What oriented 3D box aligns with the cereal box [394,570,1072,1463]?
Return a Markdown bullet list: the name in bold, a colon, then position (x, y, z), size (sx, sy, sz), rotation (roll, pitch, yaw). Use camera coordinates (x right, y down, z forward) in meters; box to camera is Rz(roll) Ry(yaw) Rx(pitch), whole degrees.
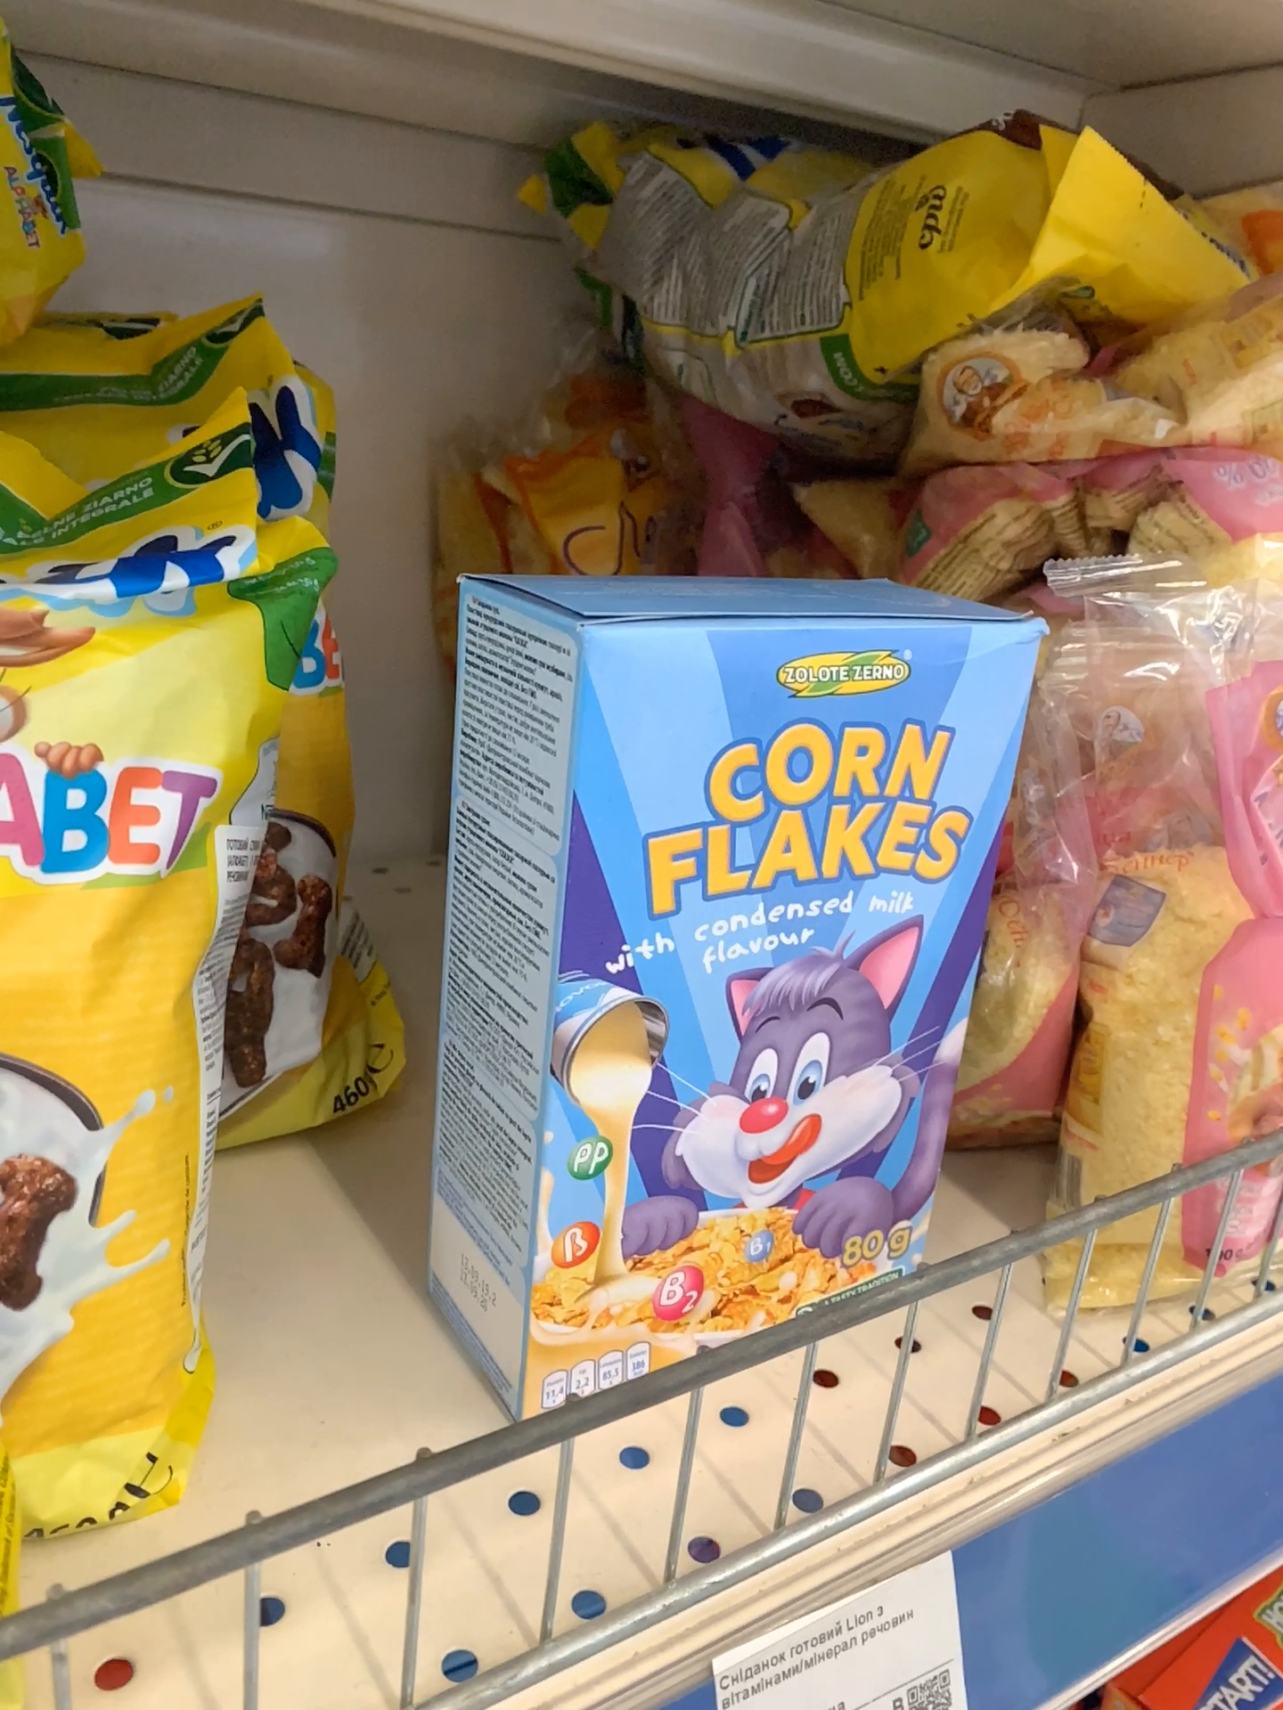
- **cereal box**: position (0.016, 0.025, 0.279), size (0.120, 0.159, 0.050), rotation (-7, 22, -32)
